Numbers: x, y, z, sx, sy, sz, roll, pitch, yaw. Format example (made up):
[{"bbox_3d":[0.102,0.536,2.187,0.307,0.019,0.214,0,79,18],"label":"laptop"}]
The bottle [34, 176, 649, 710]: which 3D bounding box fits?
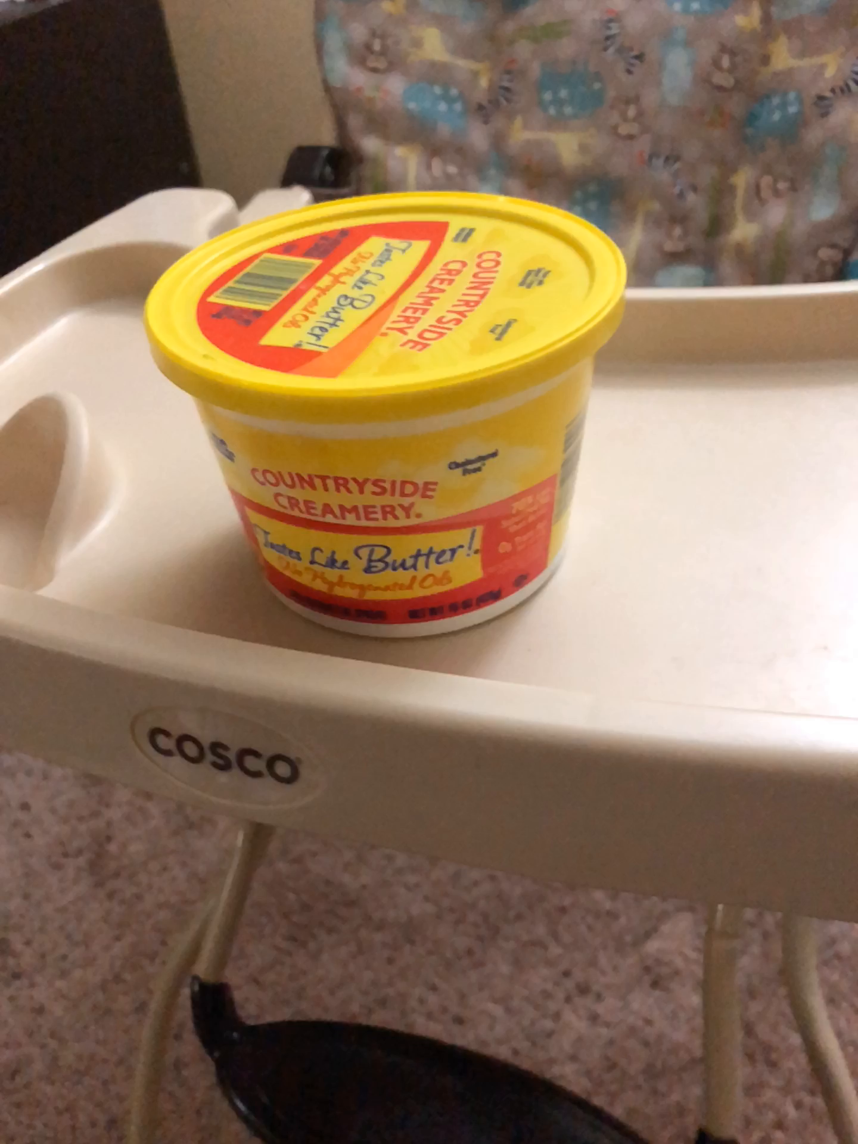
[{"bbox_3d":[-0.012,-0.044,0.270,0.120,0.090,0.110,-3,40,3],"label":"bottle"}]
